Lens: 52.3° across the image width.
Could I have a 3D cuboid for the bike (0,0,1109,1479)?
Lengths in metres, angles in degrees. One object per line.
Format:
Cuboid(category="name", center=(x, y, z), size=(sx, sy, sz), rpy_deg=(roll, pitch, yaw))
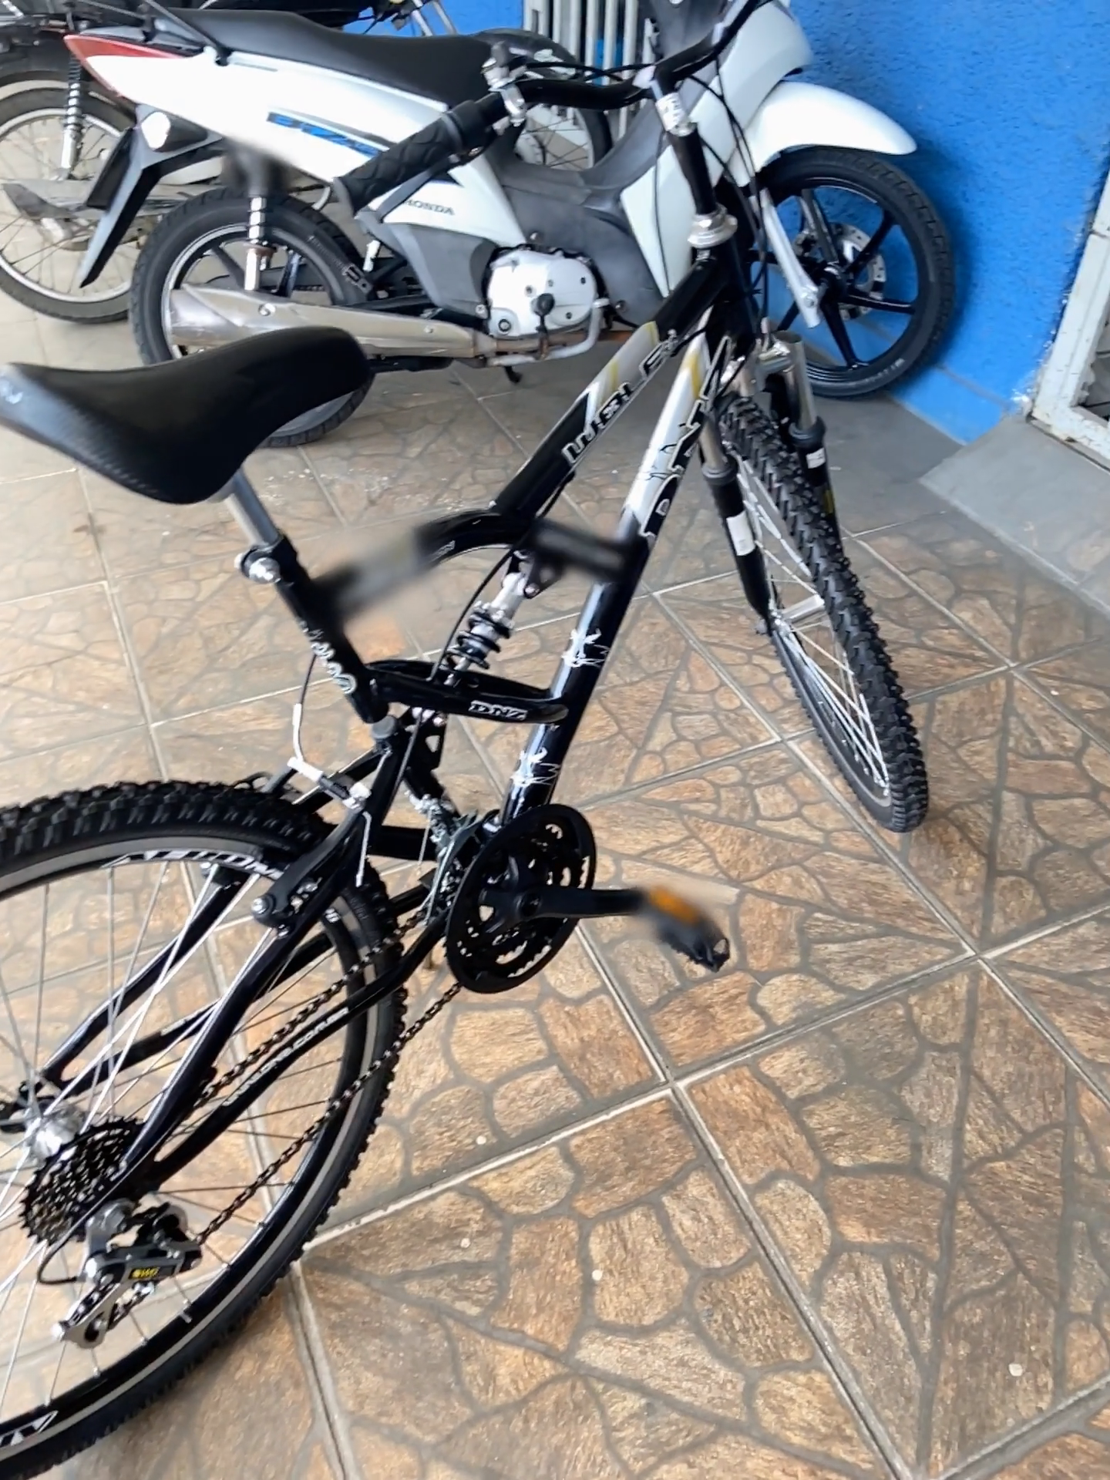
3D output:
Cuboid(category="bike", center=(-0.151, -0.140, 1.041), size=(0.604, 1.153, 1.593), rpy_deg=(25, 49, 25))
